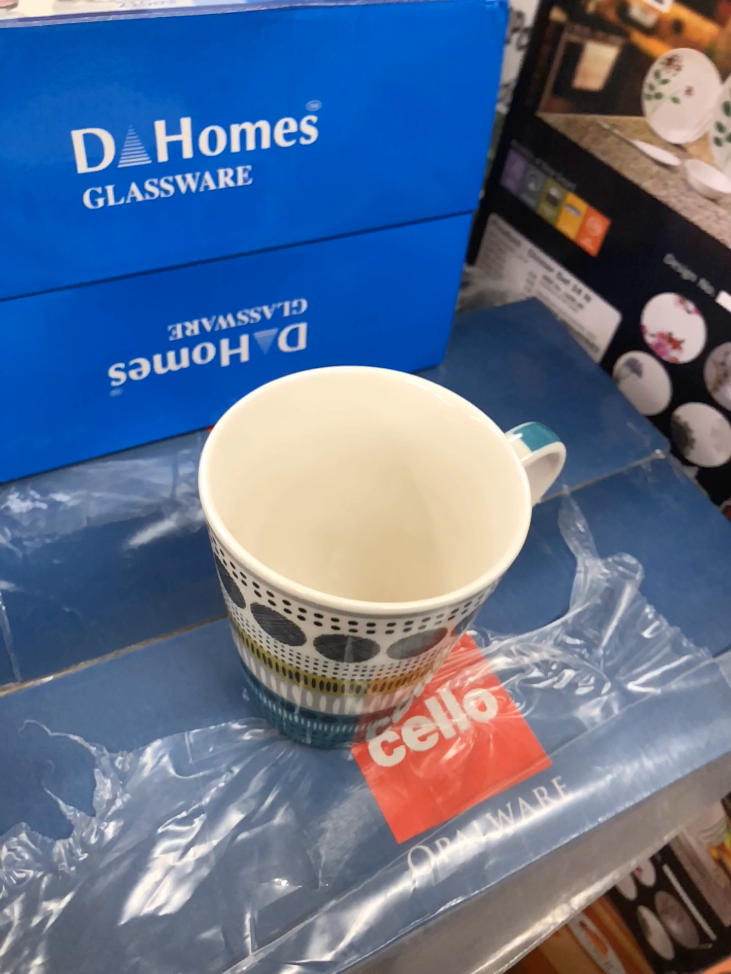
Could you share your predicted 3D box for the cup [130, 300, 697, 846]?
[{"bbox_3d":[0.008,0.022,0.248,0.120,0.090,0.090,-24,59,-27],"label":"cup"}]
